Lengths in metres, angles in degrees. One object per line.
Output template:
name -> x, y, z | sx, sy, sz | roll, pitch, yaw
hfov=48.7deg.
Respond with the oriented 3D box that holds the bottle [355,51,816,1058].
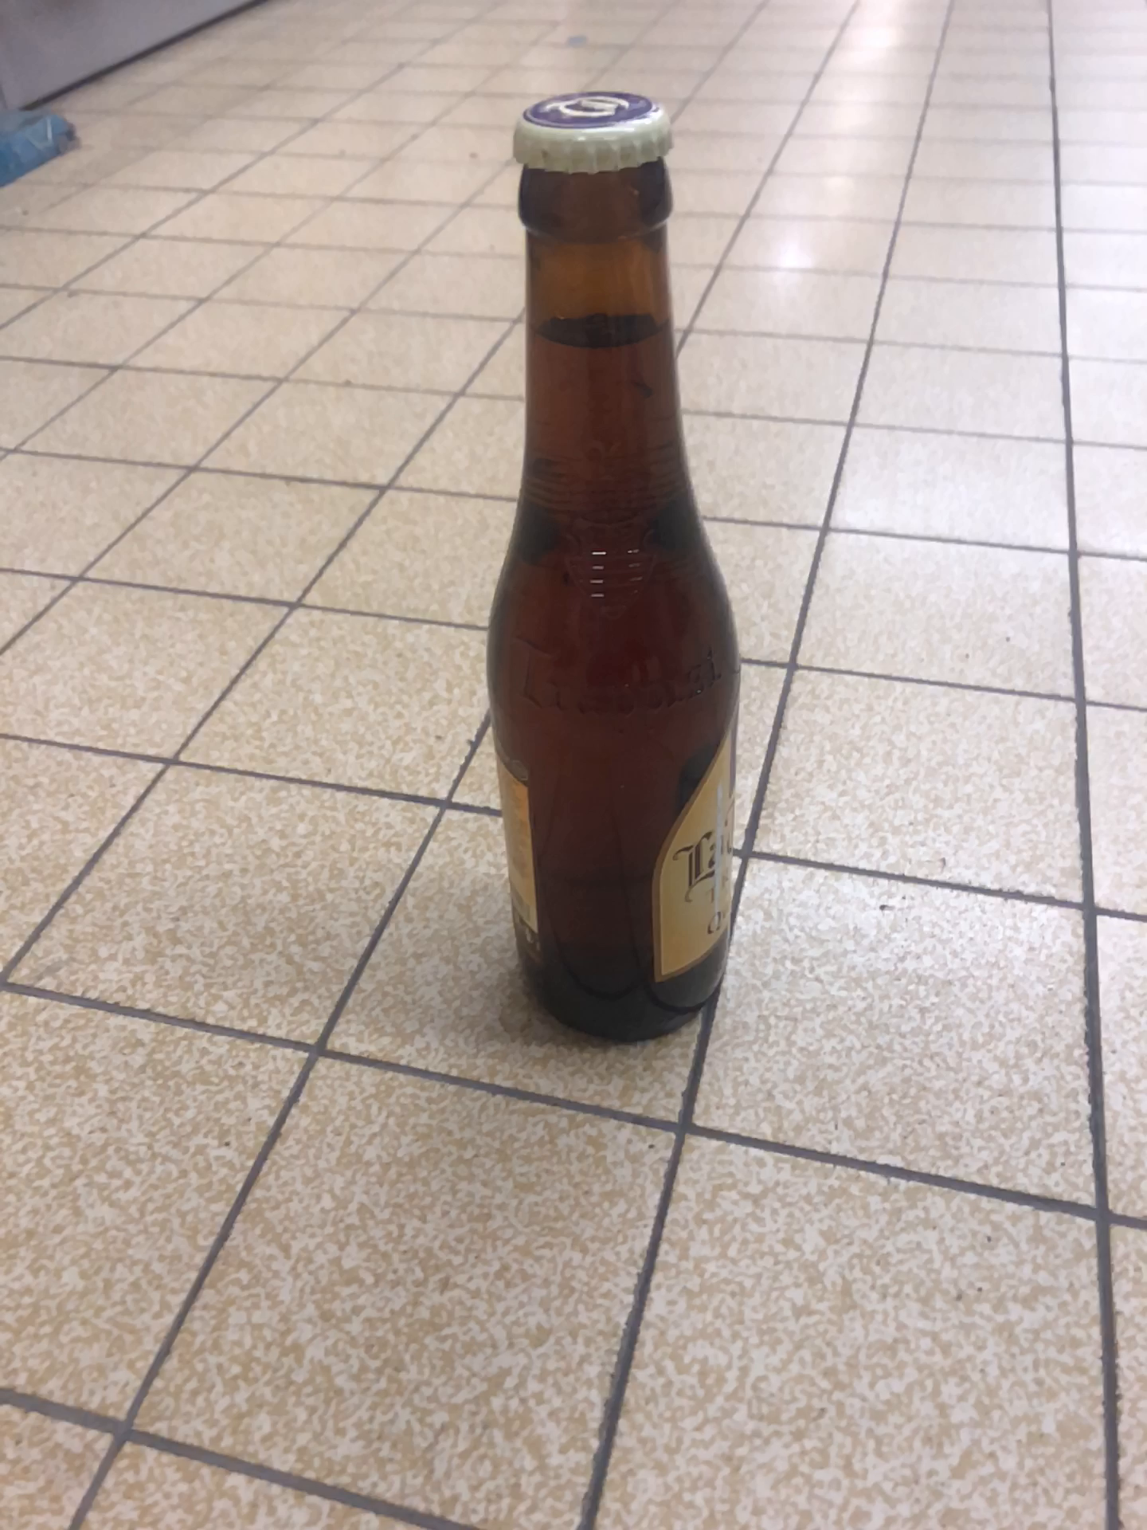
bottle -> 0.007, -0.030, 0.290 | 0.070, 0.219, 0.070 | -2, 40, 2
